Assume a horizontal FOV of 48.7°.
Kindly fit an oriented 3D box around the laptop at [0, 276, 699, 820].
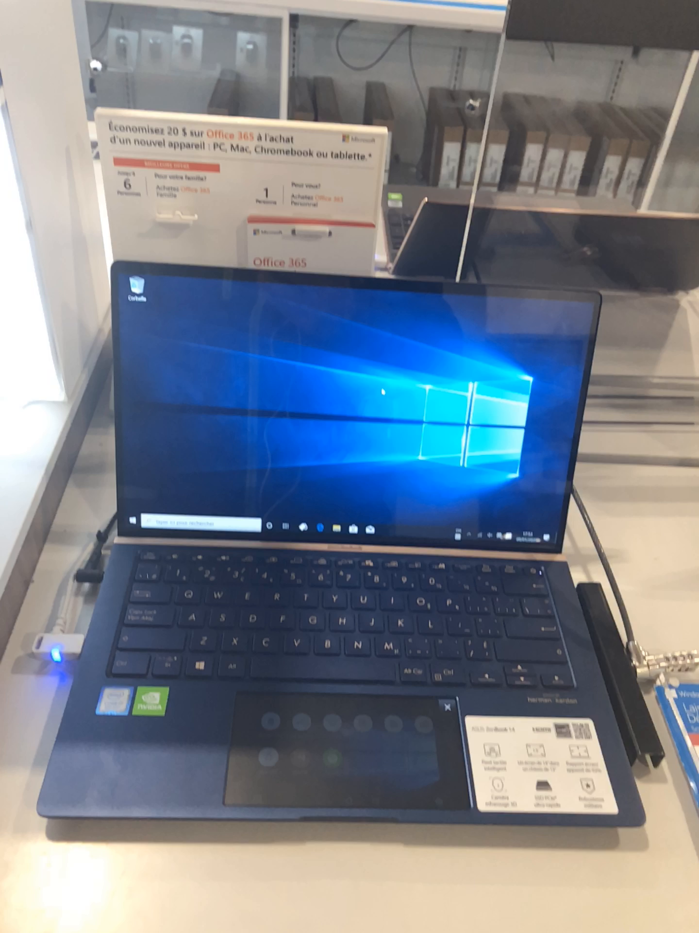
[{"bbox_3d":[0.004,0.035,0.441,0.308,0.179,0.254,3,38,-4],"label":"laptop"}]
